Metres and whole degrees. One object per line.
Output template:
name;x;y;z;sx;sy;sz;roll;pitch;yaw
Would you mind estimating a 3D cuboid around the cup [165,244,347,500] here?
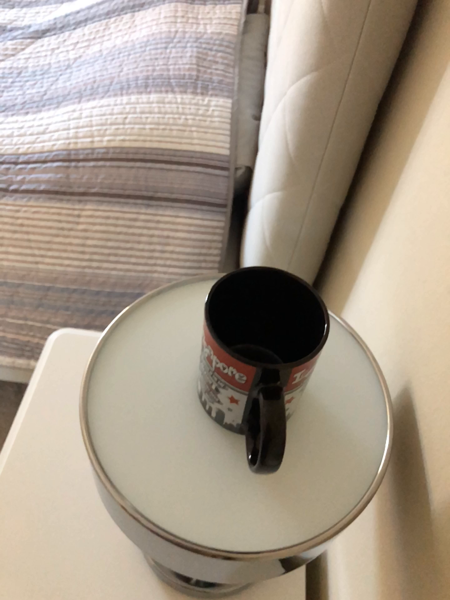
cup;0.007;0.046;0.330;0.090;0.100;0.130;0;50;-8
